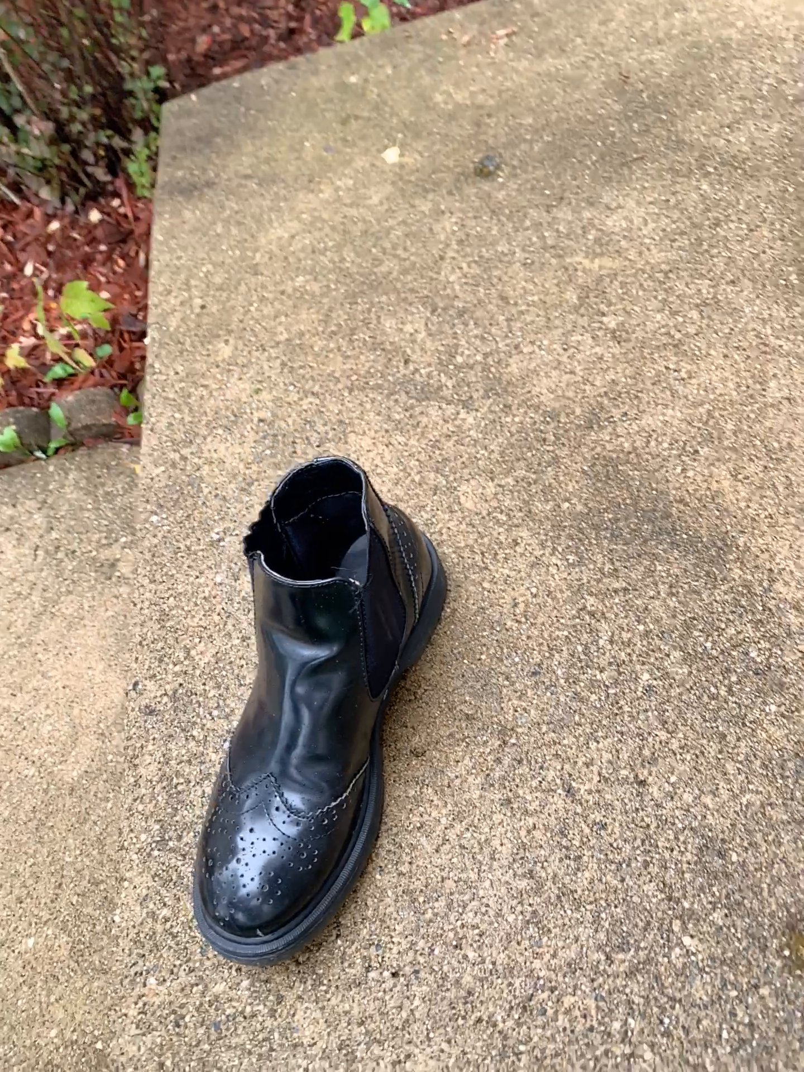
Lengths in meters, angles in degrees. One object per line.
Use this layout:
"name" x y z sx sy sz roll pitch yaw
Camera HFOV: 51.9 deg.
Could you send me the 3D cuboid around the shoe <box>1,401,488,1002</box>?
"shoe" -0.057 0.082 0.454 0.118 0.148 0.268 10 59 21
